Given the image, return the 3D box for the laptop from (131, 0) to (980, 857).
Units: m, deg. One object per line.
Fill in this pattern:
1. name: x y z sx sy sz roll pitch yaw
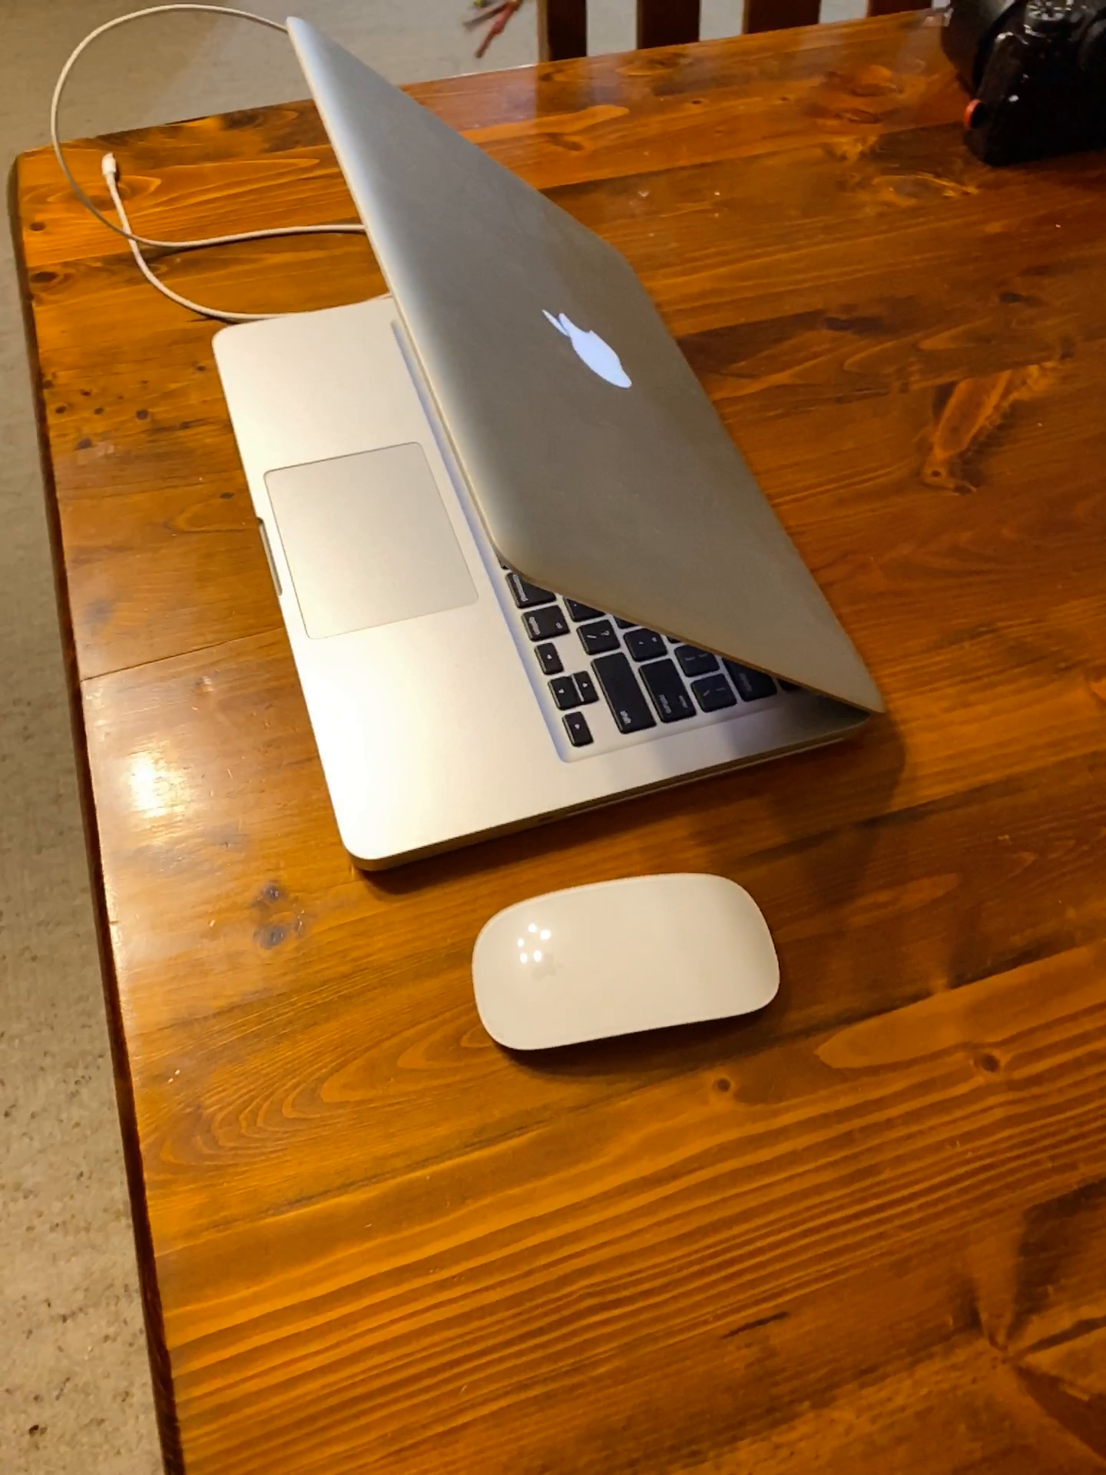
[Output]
1. laptop: -0.024 -0.146 0.453 0.211 0.136 0.312 -15 59 -10
